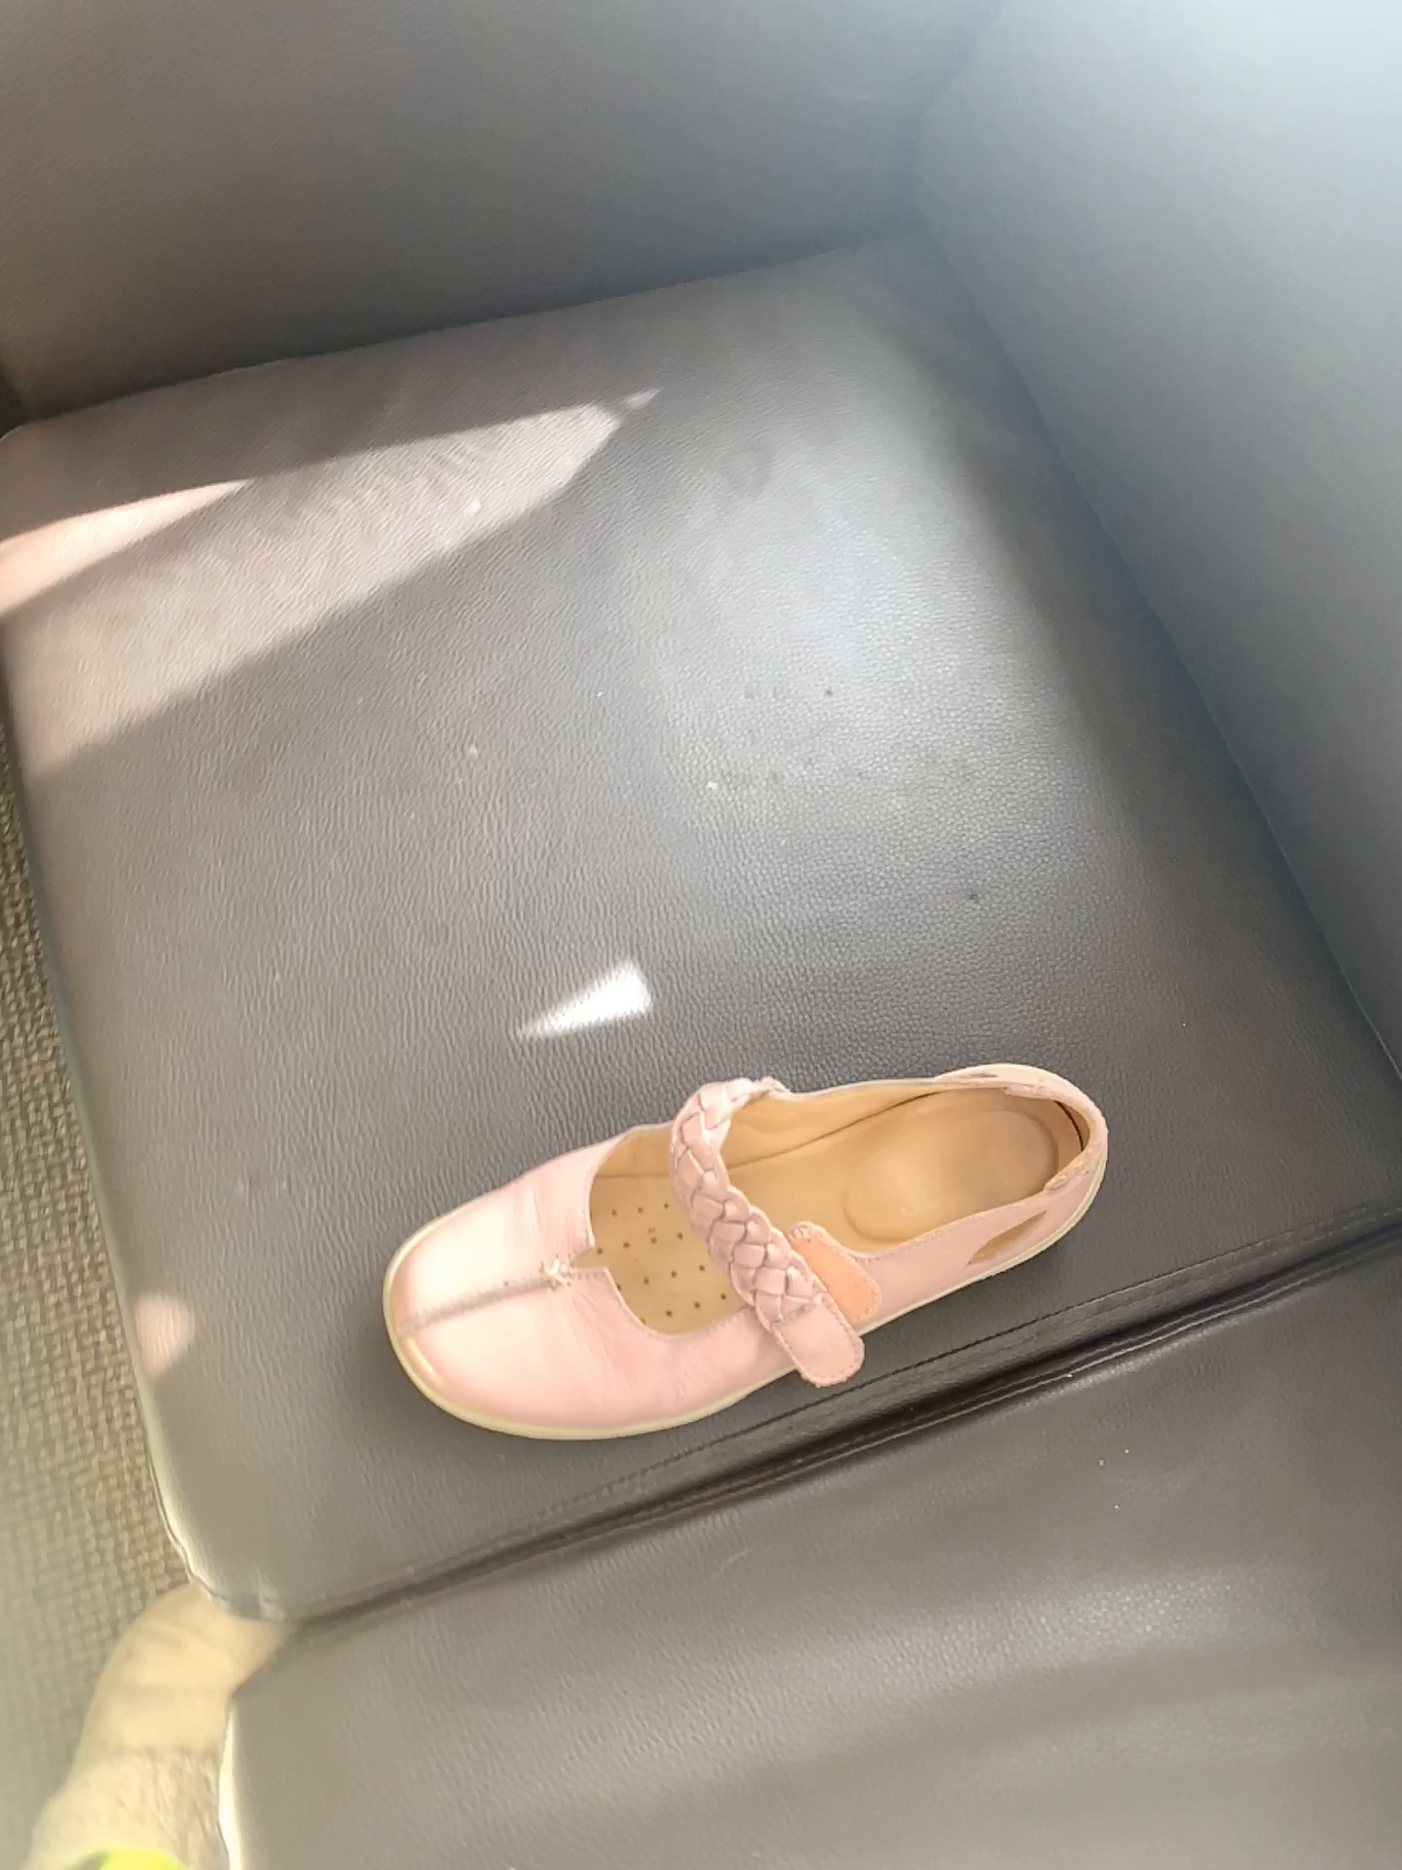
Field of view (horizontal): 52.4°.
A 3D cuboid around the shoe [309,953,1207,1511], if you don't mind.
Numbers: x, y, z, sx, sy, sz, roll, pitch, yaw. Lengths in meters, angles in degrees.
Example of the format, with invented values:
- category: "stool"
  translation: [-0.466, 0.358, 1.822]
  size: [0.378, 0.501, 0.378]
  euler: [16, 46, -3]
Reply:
- category: "shoe"
  translation: [0.016, 0.103, 0.489]
  size: [0.260, 0.100, 0.105]
  euler: [-15, 71, -5]
